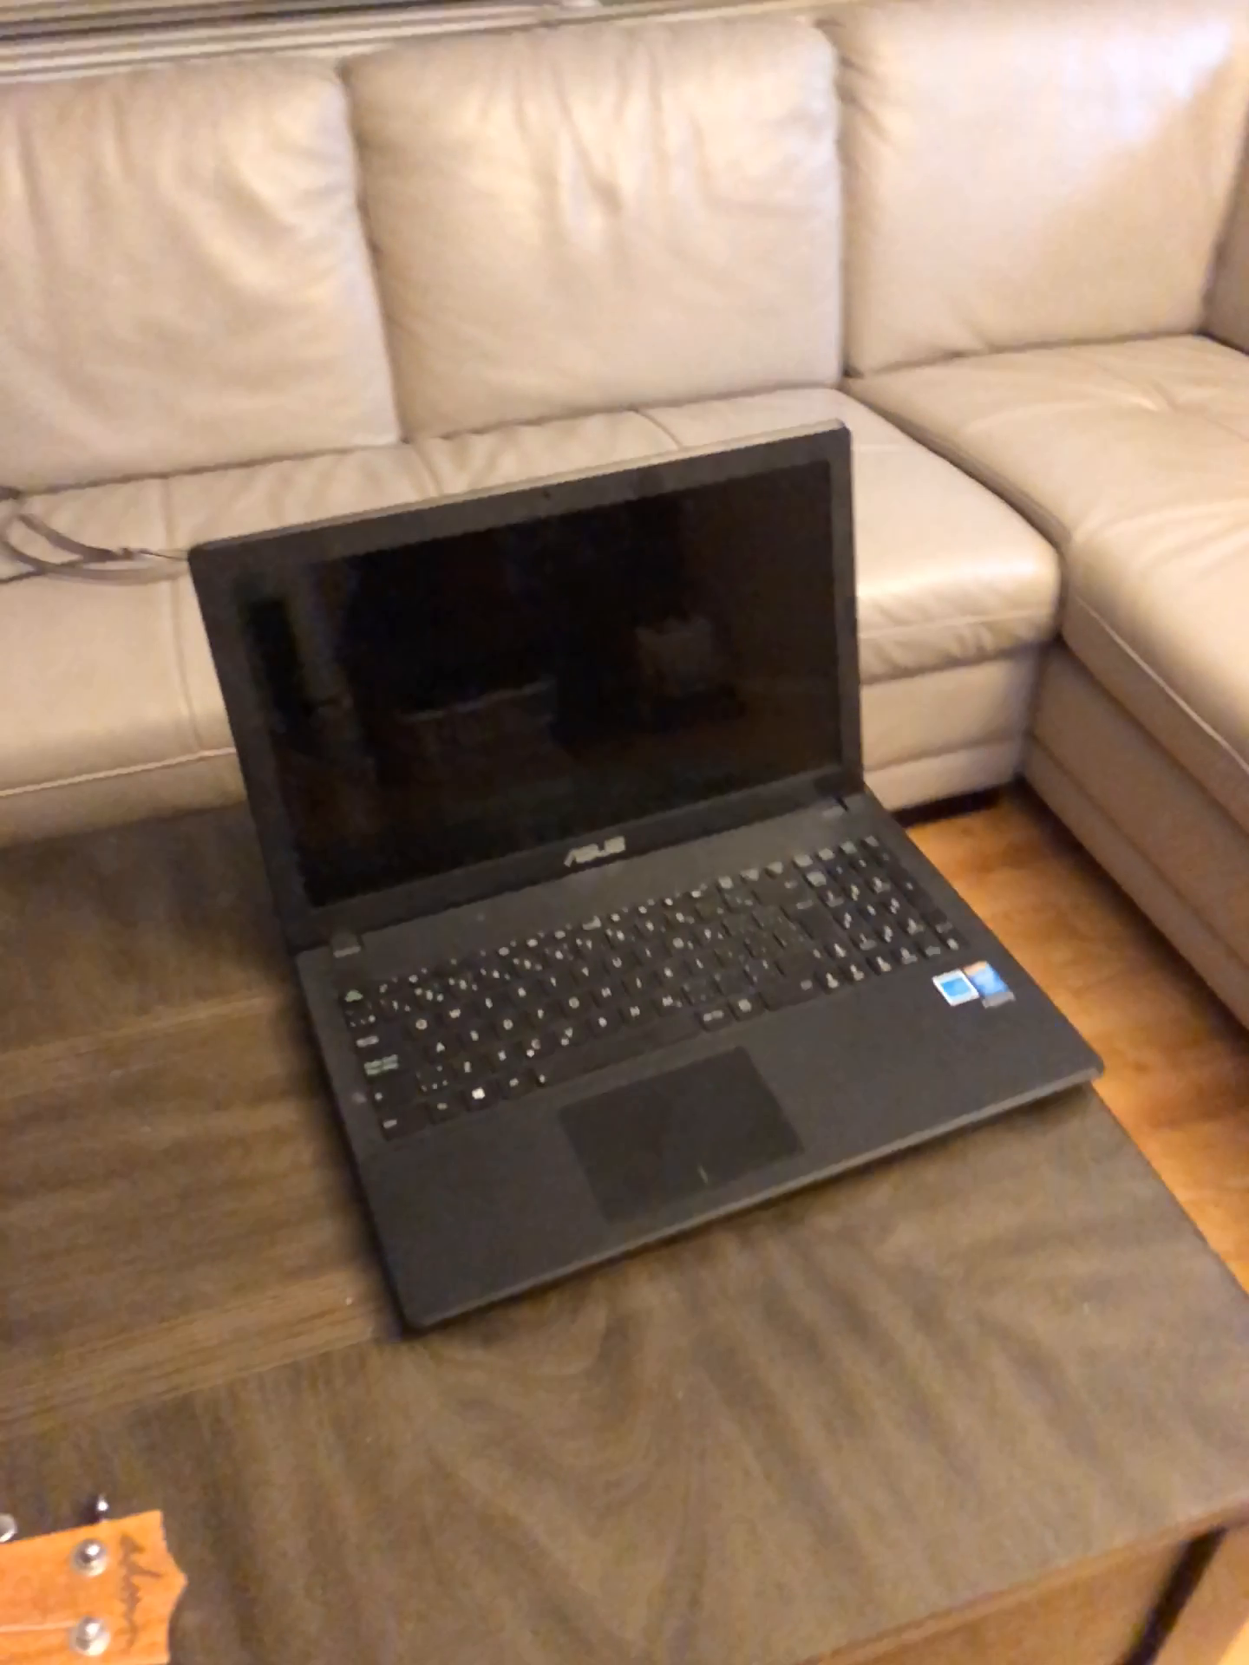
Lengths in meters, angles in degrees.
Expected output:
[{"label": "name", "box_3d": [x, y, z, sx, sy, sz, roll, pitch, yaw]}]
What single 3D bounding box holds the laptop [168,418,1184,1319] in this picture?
[{"label": "laptop", "box_3d": [0.005, -0.012, 0.685, 0.356, 0.216, 0.317, -15, 43, -17]}]
